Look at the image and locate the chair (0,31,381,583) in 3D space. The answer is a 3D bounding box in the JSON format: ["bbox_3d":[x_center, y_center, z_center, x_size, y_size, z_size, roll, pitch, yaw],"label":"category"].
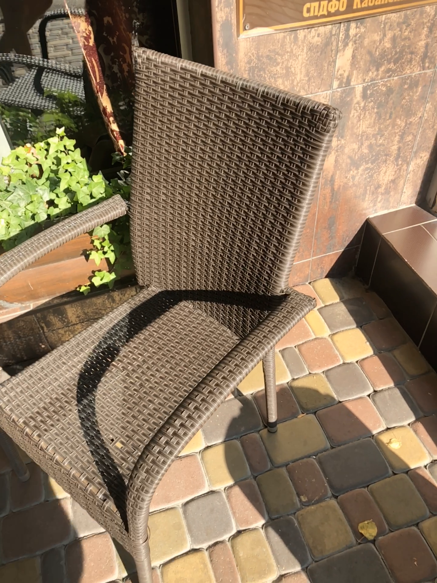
[{"bbox_3d":[-0.152,0.094,0.920,0.521,0.847,0.581,30,55,28],"label":"chair"}]
